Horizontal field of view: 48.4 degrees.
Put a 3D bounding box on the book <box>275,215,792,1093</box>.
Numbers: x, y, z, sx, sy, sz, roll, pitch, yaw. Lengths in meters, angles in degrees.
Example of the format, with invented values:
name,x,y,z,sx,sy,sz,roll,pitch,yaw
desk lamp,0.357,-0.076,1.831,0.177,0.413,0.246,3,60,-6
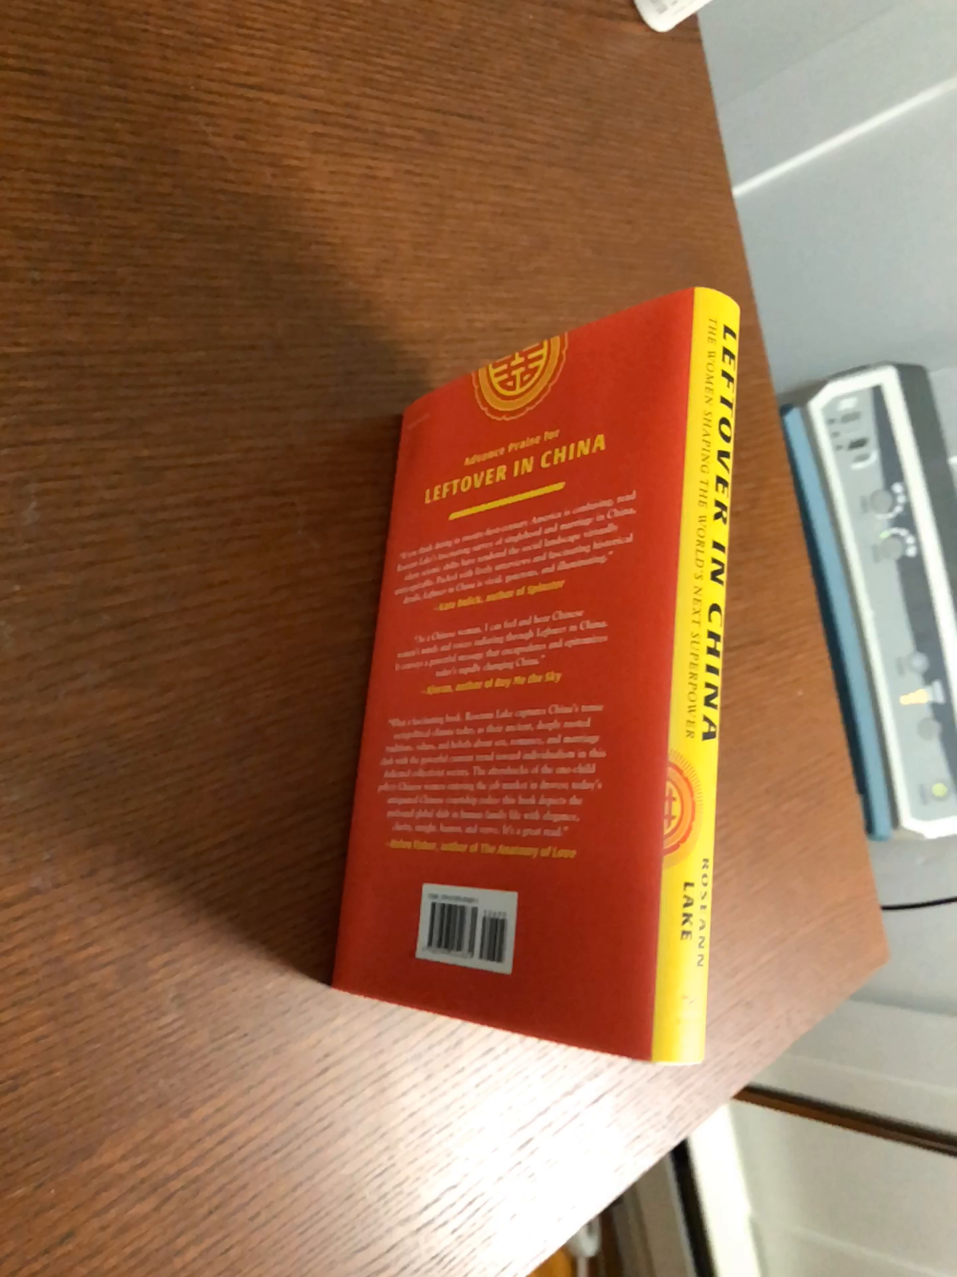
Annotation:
name,x,y,z,sx,sy,sz,roll,pitch,yaw
book,0.016,0.008,0.392,0.060,0.179,0.260,17,73,-39
